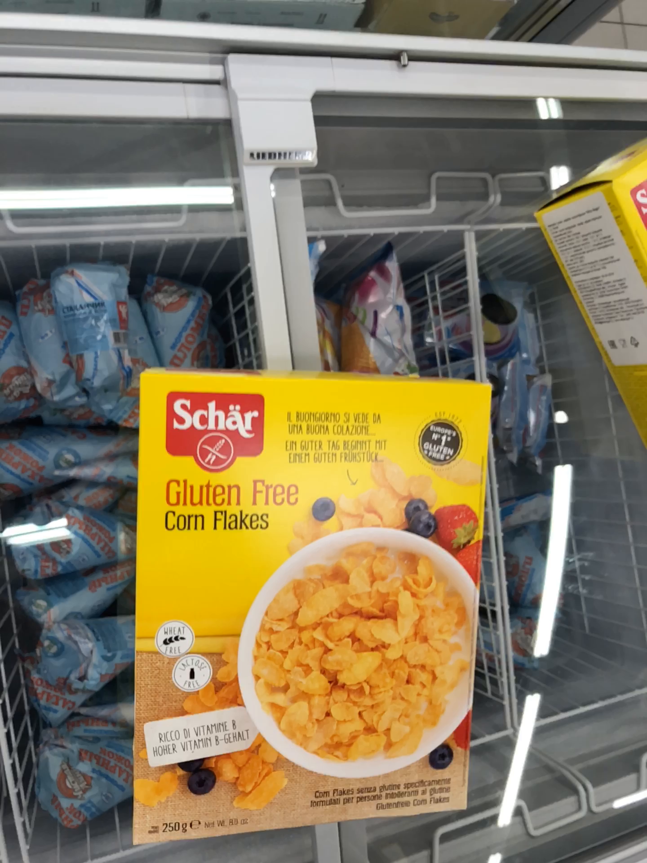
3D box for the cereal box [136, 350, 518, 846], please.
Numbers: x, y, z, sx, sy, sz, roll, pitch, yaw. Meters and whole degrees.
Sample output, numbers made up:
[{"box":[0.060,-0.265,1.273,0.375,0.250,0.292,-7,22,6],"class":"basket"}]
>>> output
[{"box":[-0.004,0.088,0.428,0.200,0.080,0.260,2,95,-14],"class":"cereal box"}]
